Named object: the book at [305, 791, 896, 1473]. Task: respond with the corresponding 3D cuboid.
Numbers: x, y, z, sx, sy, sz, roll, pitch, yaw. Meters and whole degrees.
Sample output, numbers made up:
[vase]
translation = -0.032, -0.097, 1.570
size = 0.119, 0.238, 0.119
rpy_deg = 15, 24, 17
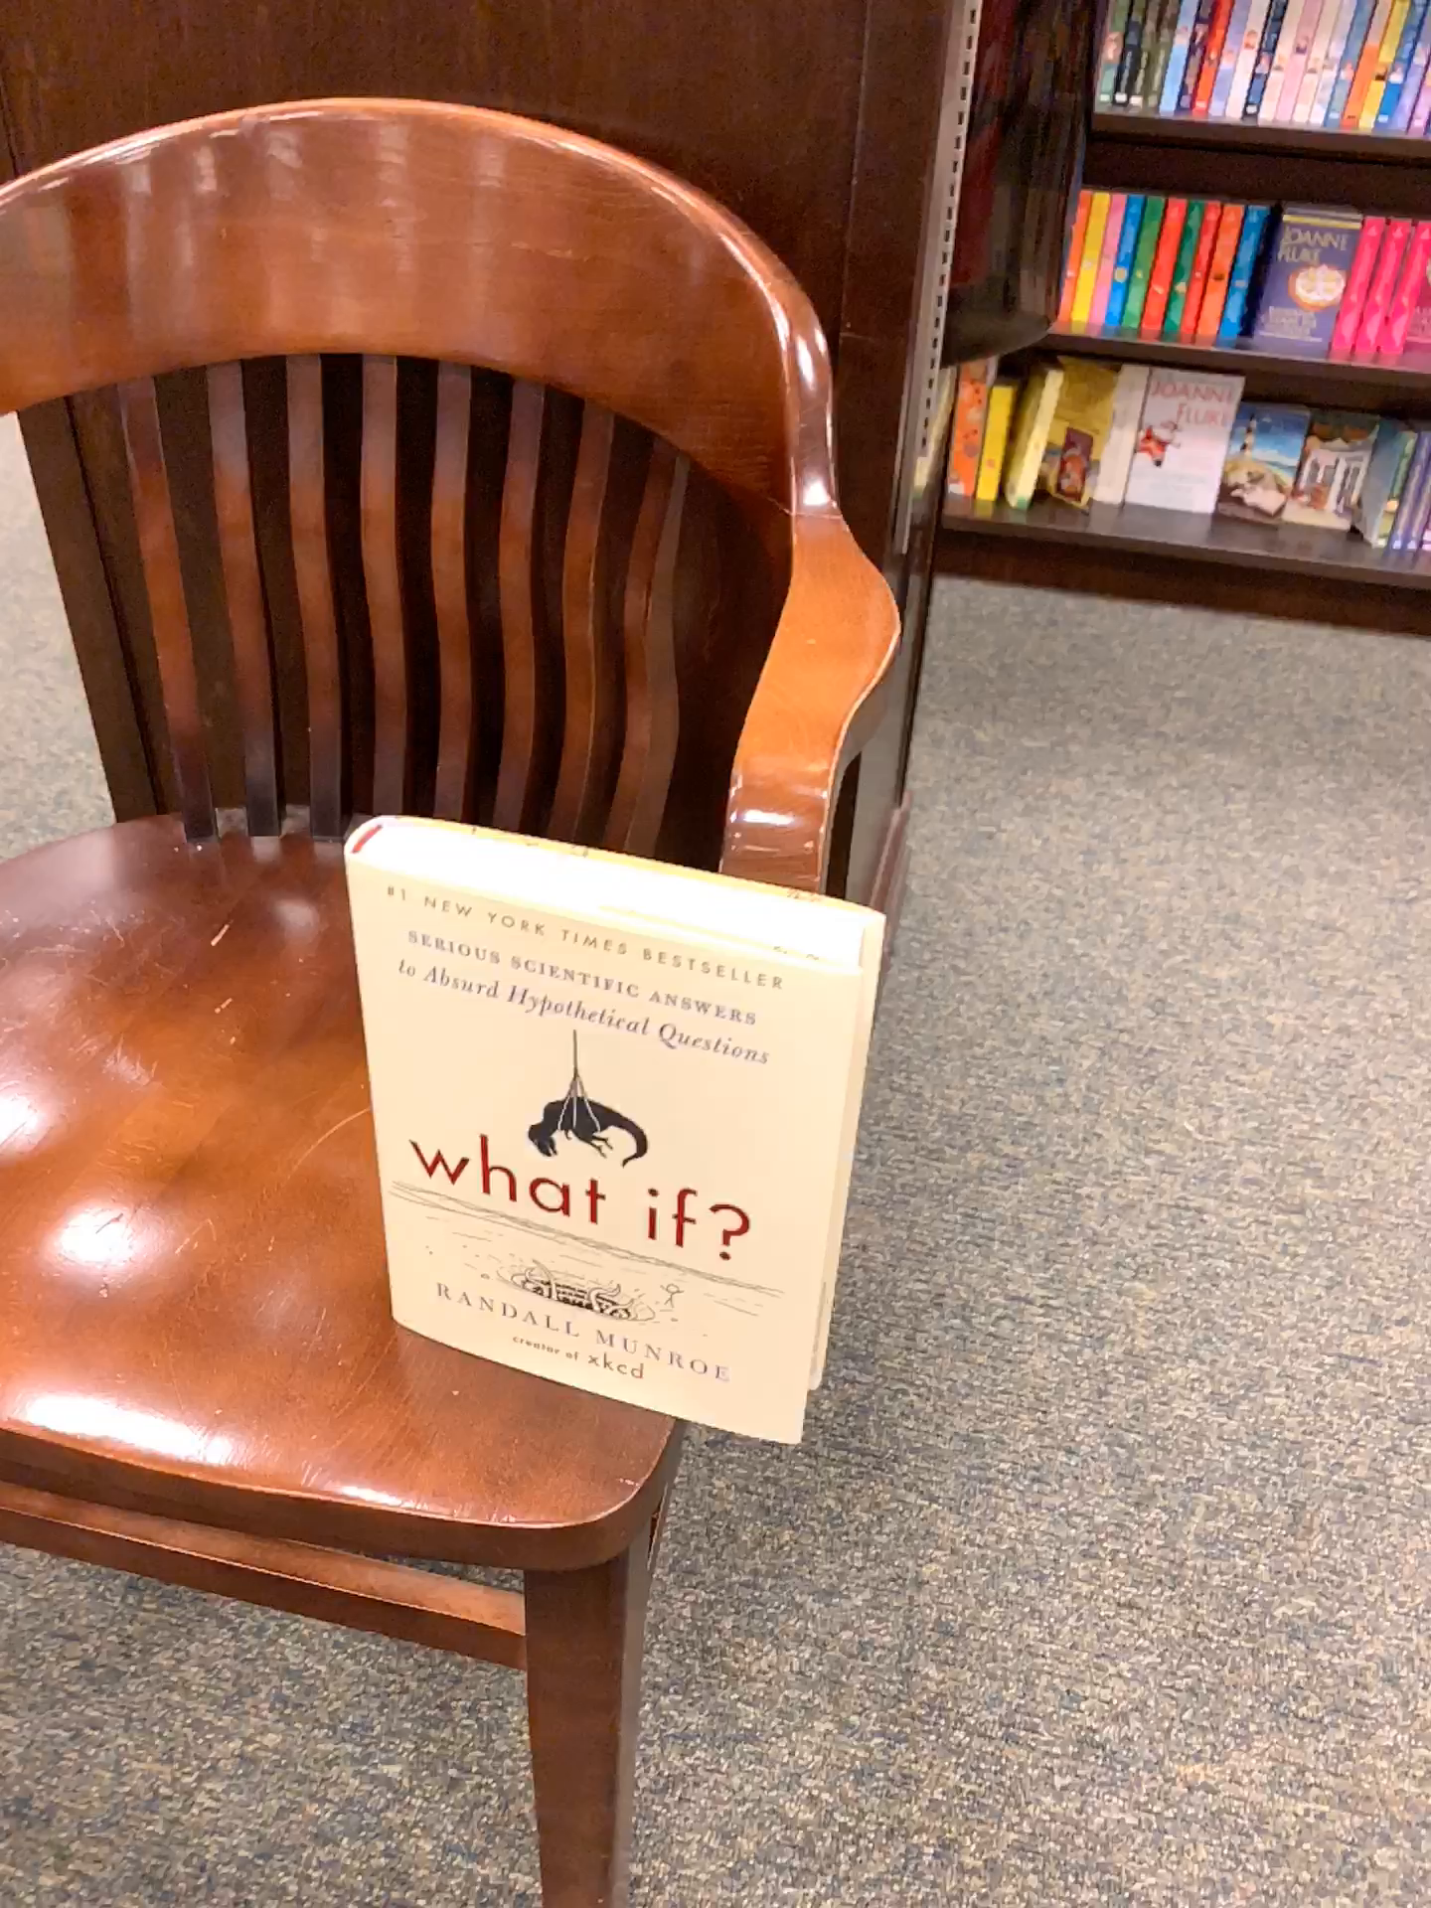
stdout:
[book]
translation = -0.044, 0.073, 0.549
size = 0.188, 0.239, 0.050
rpy_deg = 12, 35, 12
